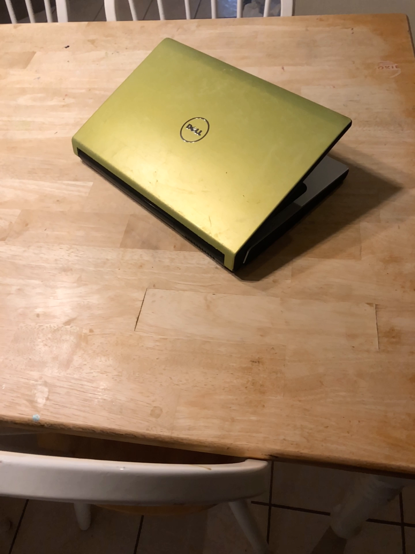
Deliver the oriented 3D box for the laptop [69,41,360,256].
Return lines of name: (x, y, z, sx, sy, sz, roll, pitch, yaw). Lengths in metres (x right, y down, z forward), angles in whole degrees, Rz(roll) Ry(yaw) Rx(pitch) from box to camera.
laptop: (0.000, -0.212, 0.667, 0.227, 0.077, 0.359, -39, 58, -23)
